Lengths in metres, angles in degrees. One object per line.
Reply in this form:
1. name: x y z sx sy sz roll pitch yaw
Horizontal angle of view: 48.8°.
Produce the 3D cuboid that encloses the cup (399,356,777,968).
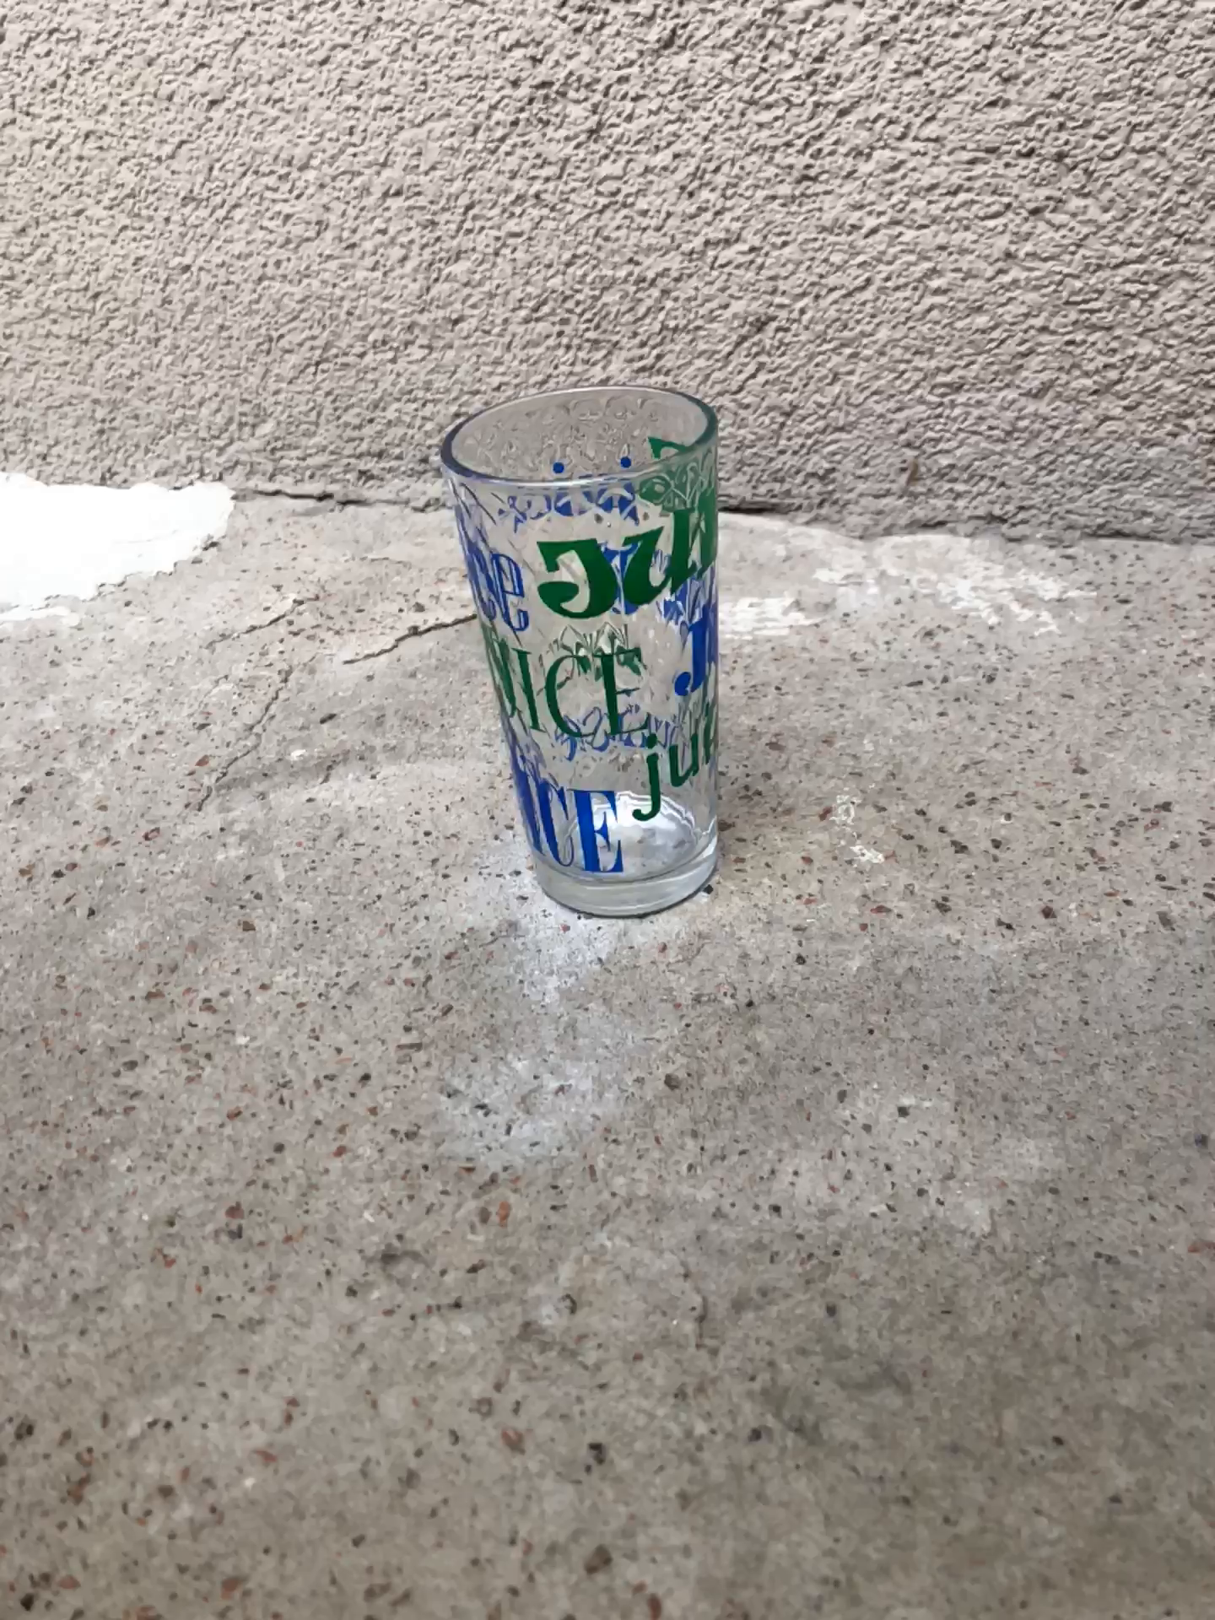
1. cup: -0.002 -0.037 0.338 0.067 0.125 0.066 -3 34 2
